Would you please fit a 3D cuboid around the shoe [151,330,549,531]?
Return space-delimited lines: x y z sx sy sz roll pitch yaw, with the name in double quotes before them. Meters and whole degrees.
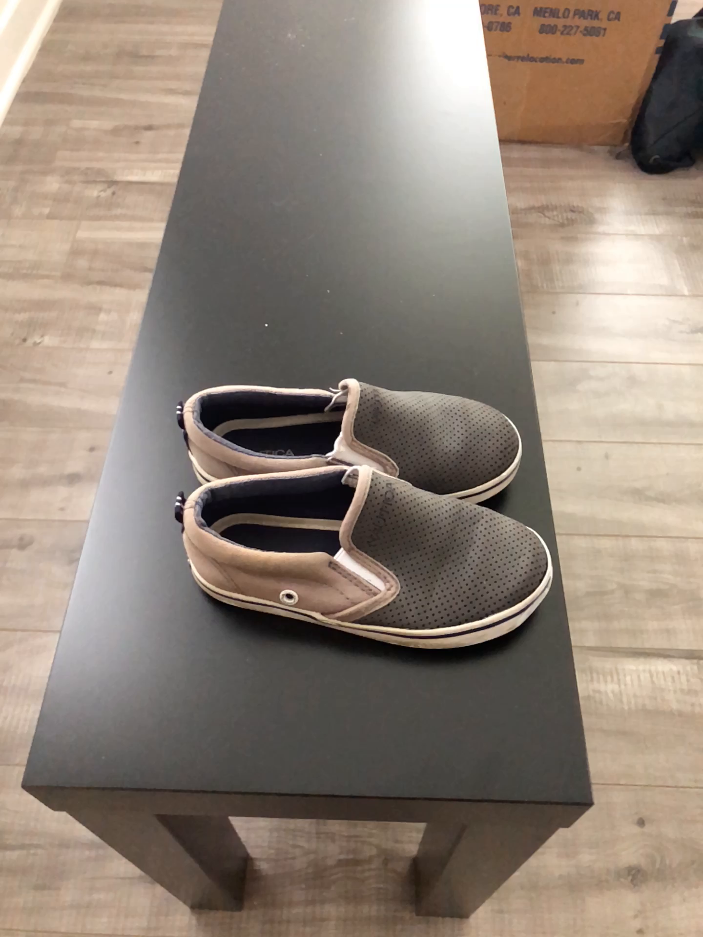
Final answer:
"shoe" -0.002 -0.020 0.421 0.190 0.070 0.078 -2 55 -2

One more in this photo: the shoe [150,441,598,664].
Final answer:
"shoe" 0.010 0.042 0.380 0.190 0.070 0.078 2 55 0
